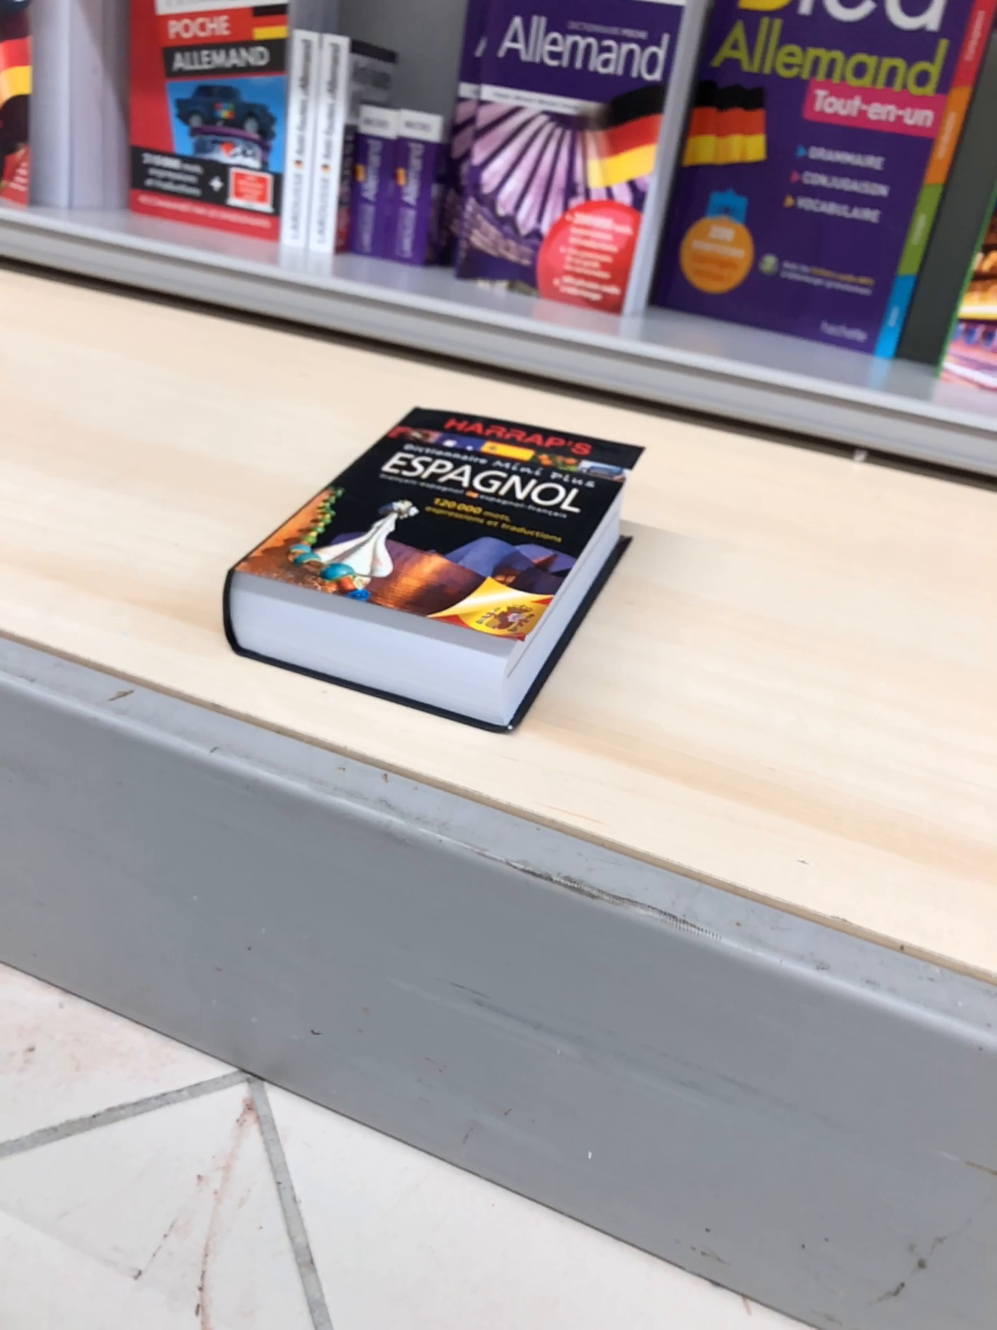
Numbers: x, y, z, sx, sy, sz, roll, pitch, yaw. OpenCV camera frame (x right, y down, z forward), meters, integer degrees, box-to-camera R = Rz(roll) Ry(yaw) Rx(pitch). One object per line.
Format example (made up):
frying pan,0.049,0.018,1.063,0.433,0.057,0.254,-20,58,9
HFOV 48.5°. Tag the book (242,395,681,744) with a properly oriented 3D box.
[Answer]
book,-0.005,-0.043,0.395,0.103,0.038,0.146,15,38,16
